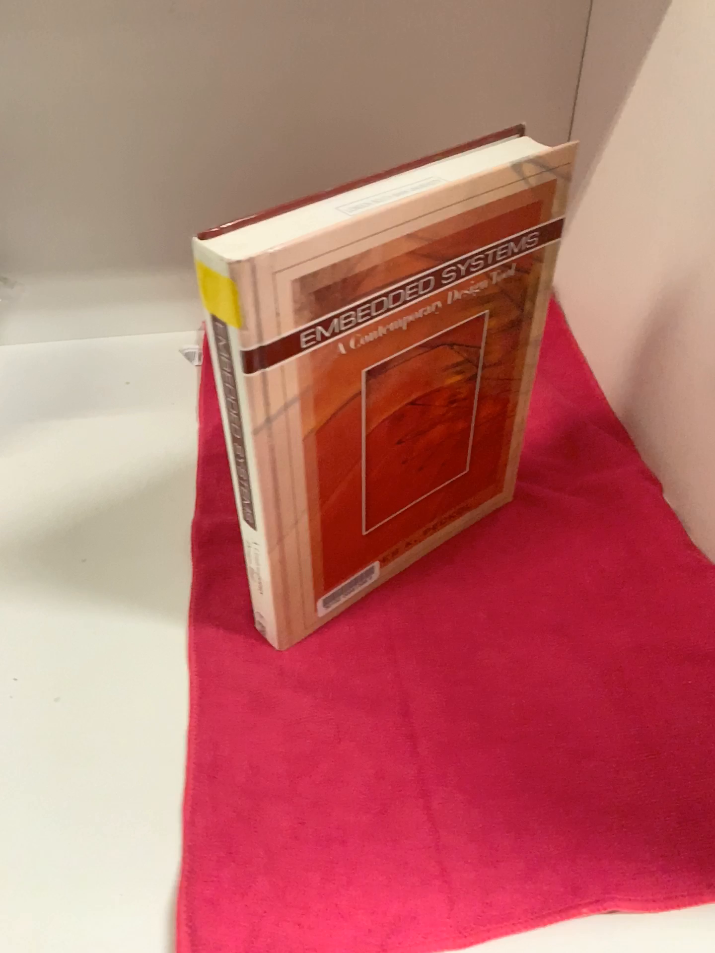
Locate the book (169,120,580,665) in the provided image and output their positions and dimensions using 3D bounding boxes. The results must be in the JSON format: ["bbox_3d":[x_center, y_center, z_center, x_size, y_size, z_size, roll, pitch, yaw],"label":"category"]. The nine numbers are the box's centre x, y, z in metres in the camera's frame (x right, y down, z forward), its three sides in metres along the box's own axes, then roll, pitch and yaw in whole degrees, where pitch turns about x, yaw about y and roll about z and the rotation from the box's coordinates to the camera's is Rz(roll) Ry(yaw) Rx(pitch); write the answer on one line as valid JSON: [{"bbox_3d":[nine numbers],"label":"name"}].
[{"bbox_3d":[0.020,-0.040,0.422,0.212,0.257,0.044,-30,49,-29],"label":"book"}]
